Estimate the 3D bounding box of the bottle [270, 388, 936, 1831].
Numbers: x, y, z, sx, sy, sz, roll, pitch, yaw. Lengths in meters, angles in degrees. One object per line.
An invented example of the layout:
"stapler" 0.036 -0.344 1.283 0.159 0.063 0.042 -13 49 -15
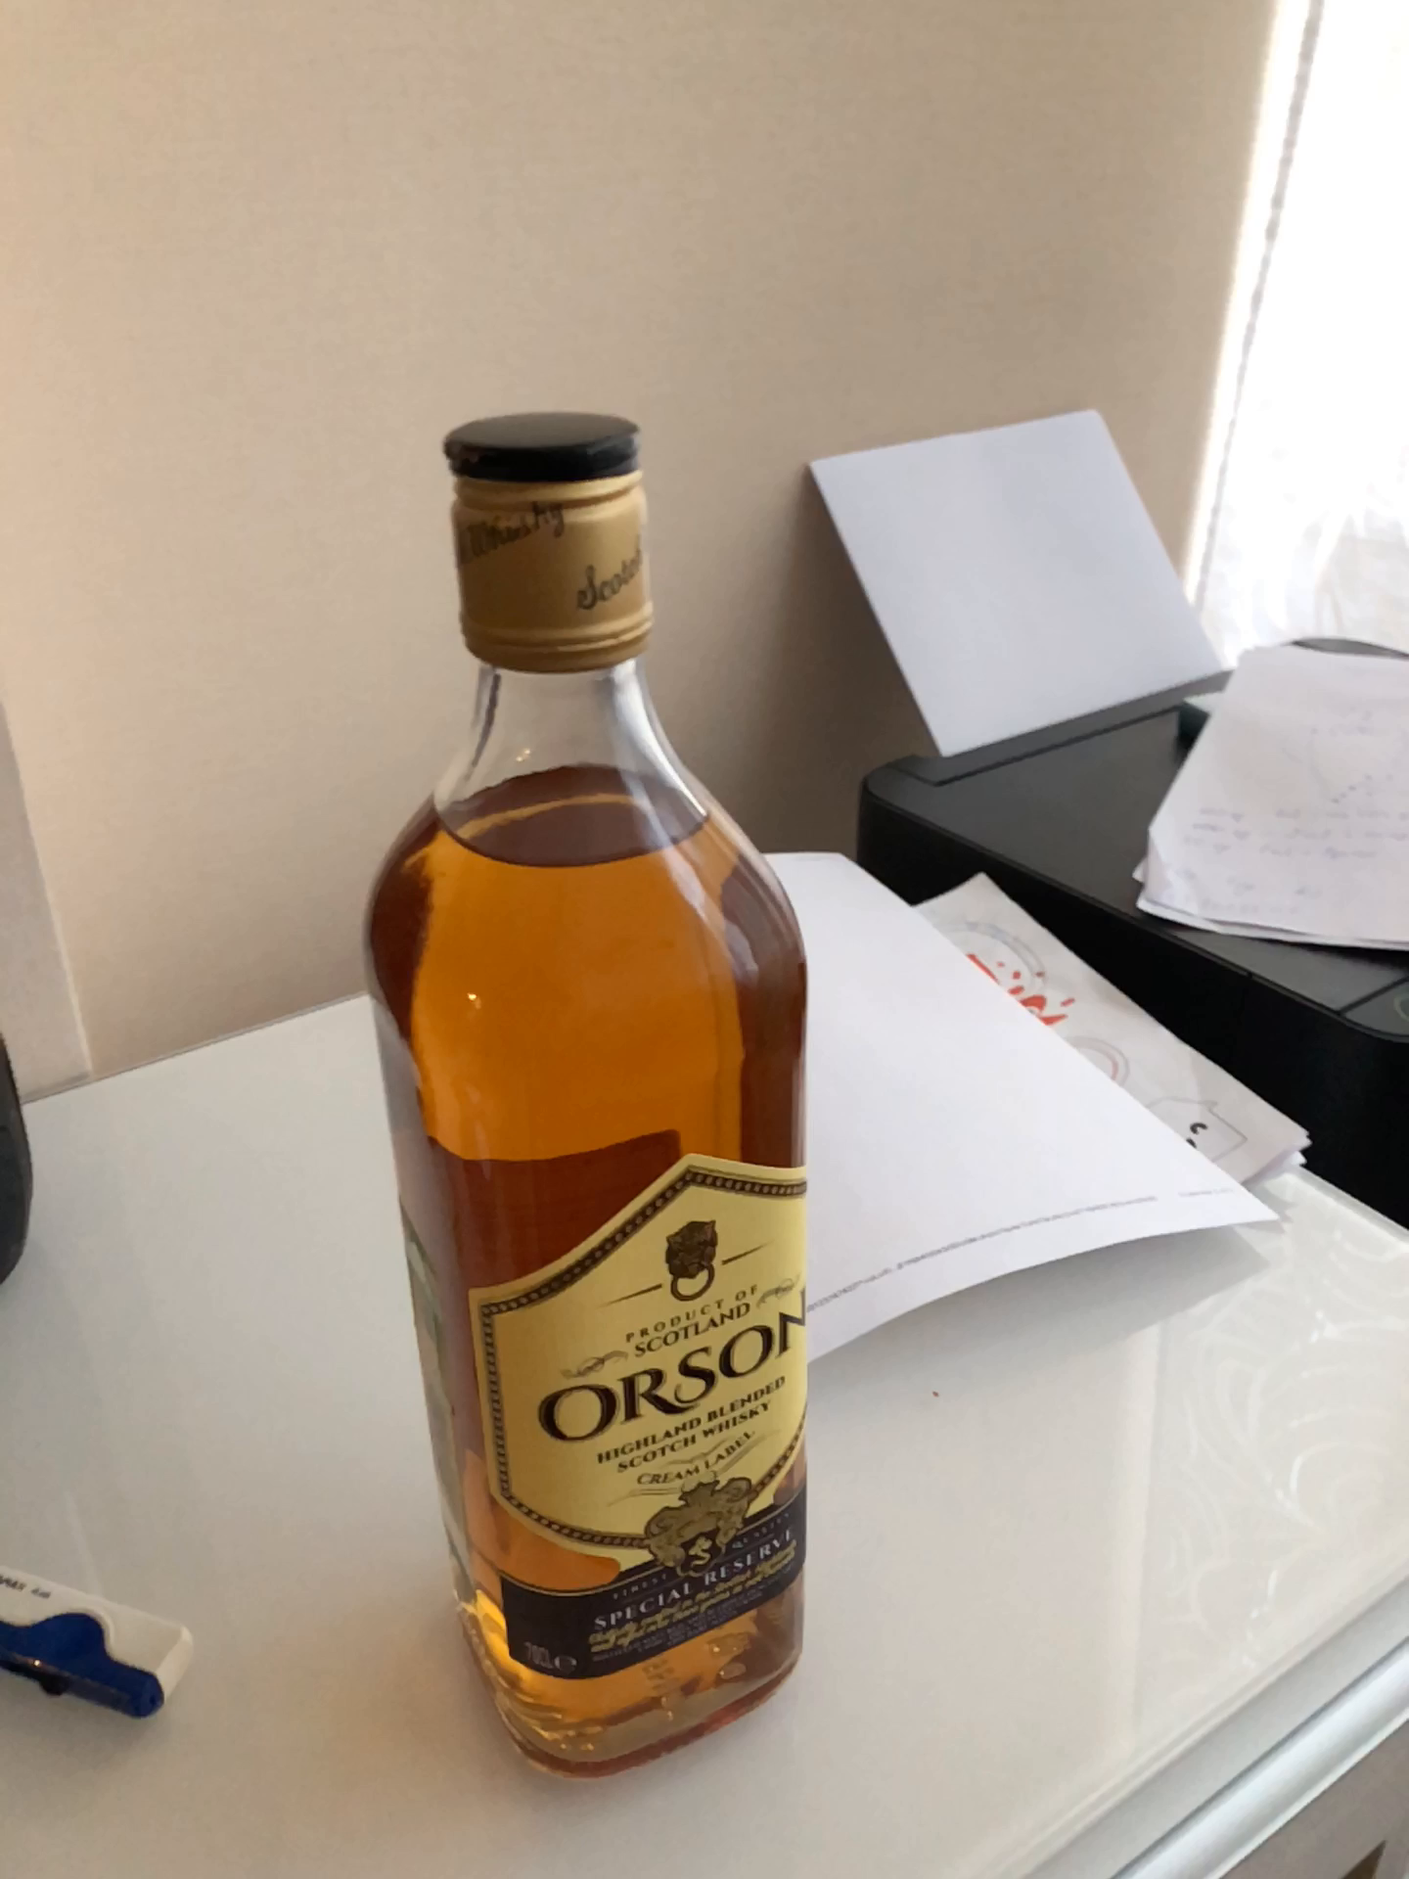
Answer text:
"bottle" -0.016 0.040 0.293 0.080 0.258 0.070 -13 30 -21
